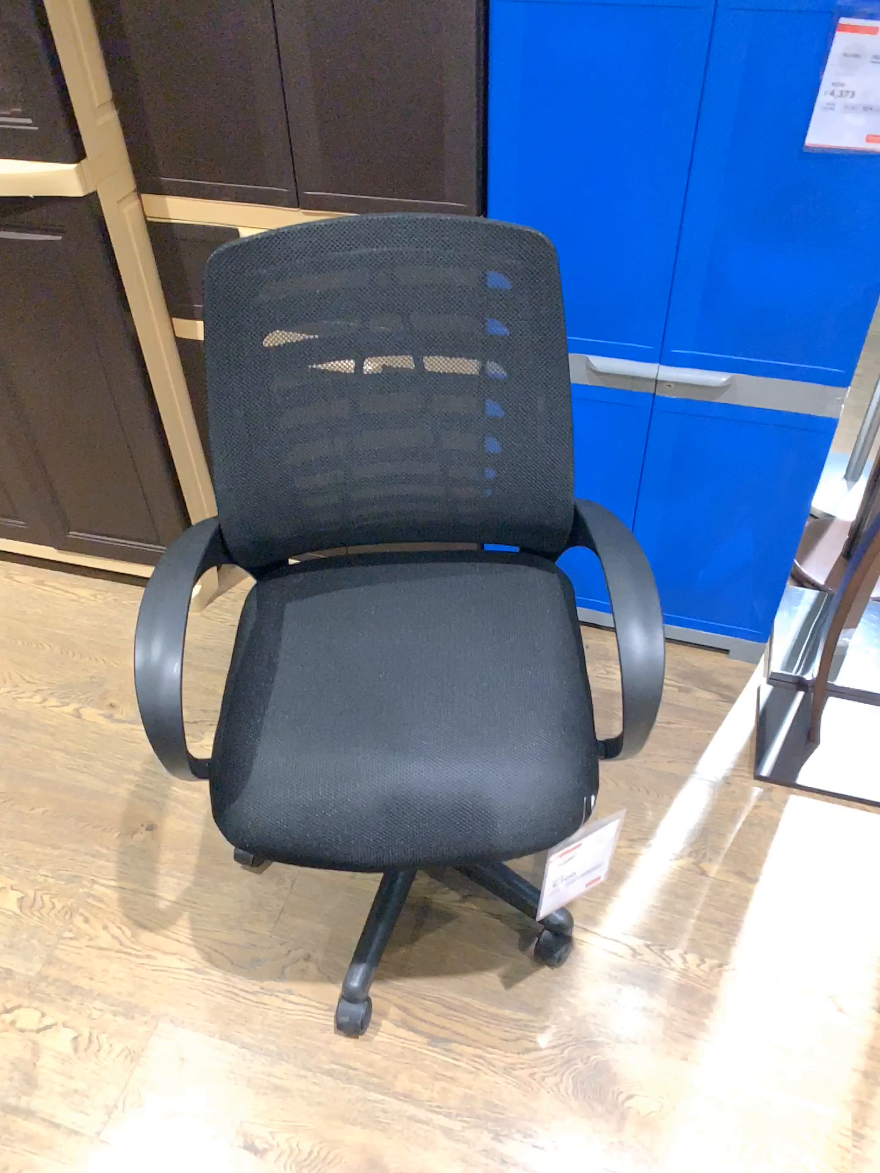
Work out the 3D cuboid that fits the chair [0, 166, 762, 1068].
[{"bbox_3d":[-0.080,0.103,1.135,0.600,0.997,0.602,-2,43,1],"label":"chair"}]
